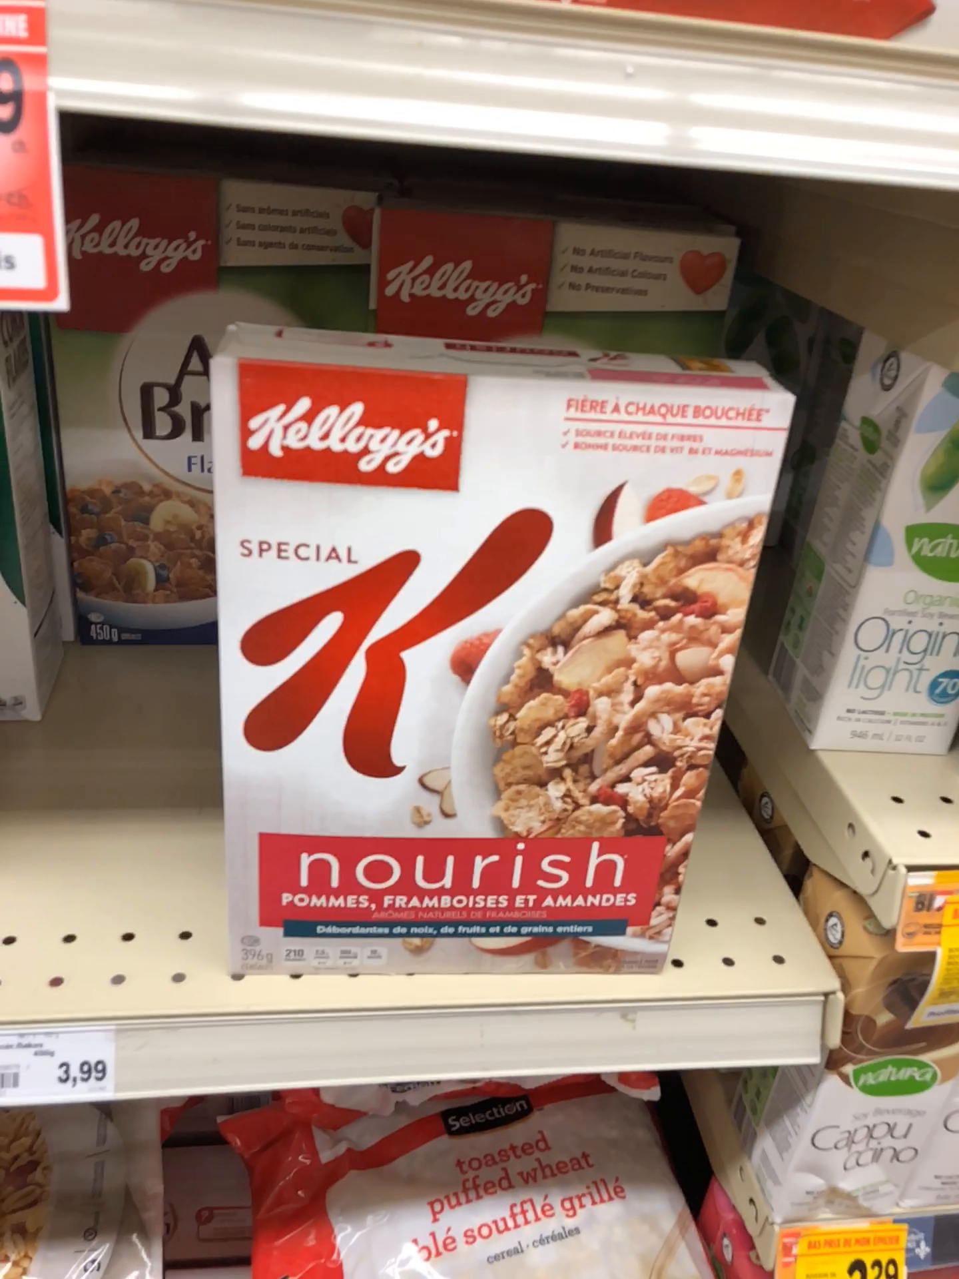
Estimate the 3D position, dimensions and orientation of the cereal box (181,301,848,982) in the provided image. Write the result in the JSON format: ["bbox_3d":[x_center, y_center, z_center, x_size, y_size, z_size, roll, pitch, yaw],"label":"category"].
[{"bbox_3d":[0.000,0.015,0.396,0.200,0.248,0.060,3,28,-7],"label":"cereal box"}]
